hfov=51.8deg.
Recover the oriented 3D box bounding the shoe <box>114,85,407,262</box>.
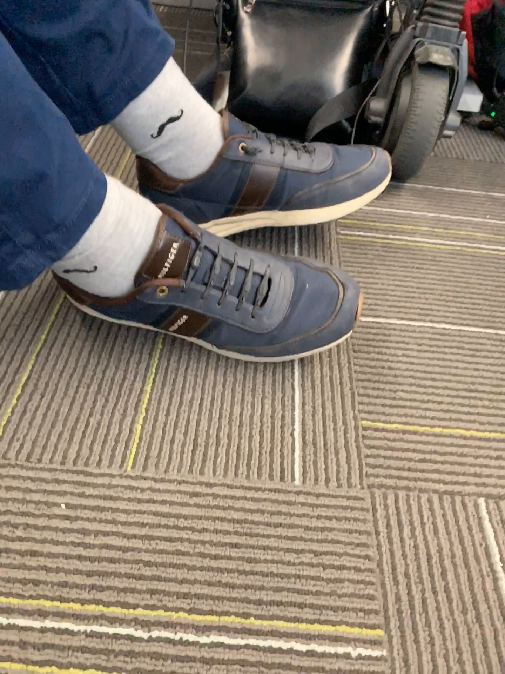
[{"bbox_3d":[0.009,-0.188,0.603,0.300,0.099,0.121,-9,47,4],"label":"shoe"}]

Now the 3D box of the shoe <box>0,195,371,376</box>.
[{"bbox_3d":[-0.059,-0.051,0.494,0.320,0.100,0.120,6,74,16],"label":"shoe"}]
